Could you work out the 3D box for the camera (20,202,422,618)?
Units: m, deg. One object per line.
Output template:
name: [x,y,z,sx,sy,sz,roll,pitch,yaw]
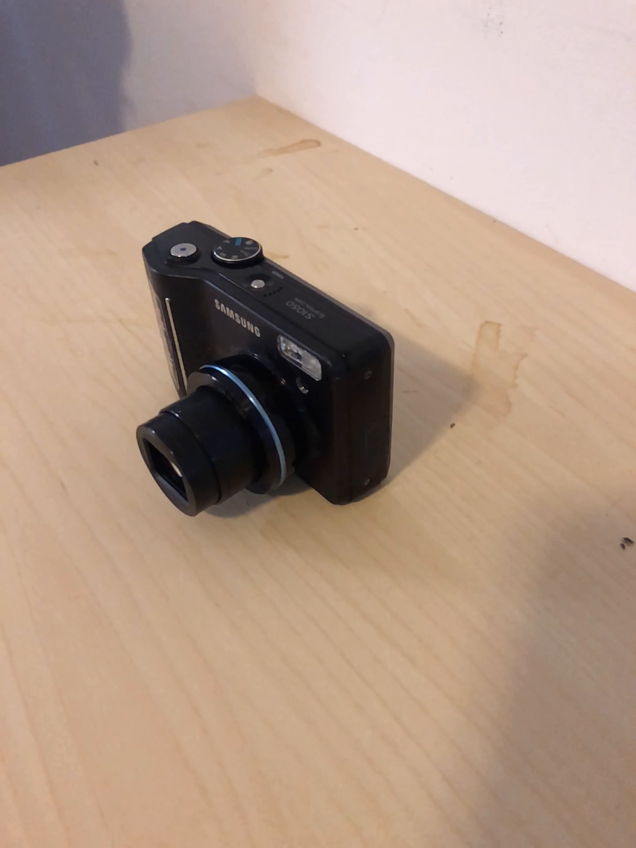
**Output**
camera: [-0.031,-0.012,0.235,0.070,0.070,0.111,-33,50,-26]
